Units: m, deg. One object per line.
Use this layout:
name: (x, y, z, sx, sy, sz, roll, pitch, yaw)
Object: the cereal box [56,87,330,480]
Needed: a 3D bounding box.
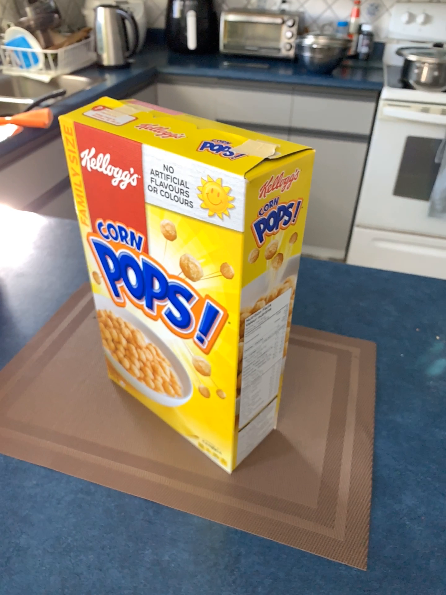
cereal box: (-0.035, -0.010, 0.451, 0.211, 0.317, 0.090, 28, 43, 32)
